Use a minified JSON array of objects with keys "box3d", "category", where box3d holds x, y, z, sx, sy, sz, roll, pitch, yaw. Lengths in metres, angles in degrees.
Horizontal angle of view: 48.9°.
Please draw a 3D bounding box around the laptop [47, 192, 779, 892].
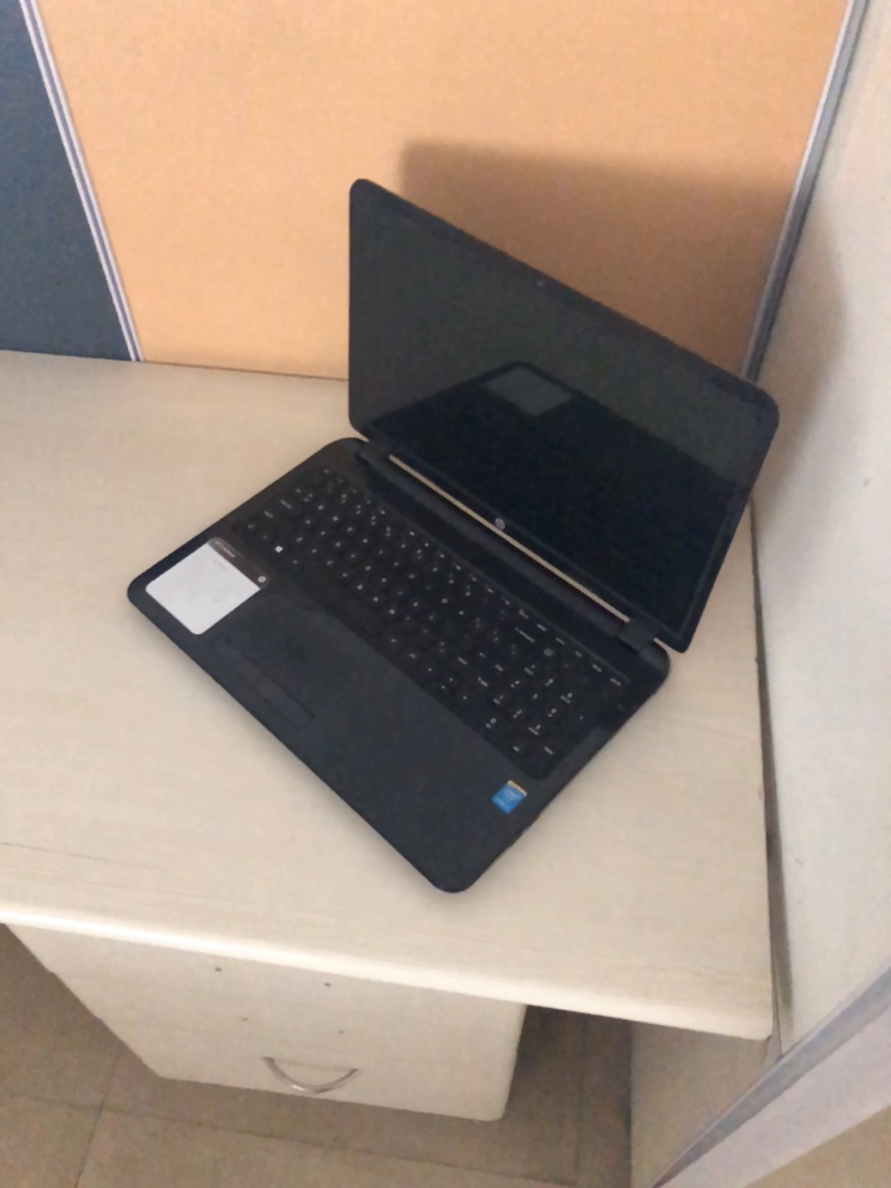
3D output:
[{"box3d":[-0.027,-0.050,0.676,0.351,0.226,0.265,38,62,25],"category":"laptop"}]
